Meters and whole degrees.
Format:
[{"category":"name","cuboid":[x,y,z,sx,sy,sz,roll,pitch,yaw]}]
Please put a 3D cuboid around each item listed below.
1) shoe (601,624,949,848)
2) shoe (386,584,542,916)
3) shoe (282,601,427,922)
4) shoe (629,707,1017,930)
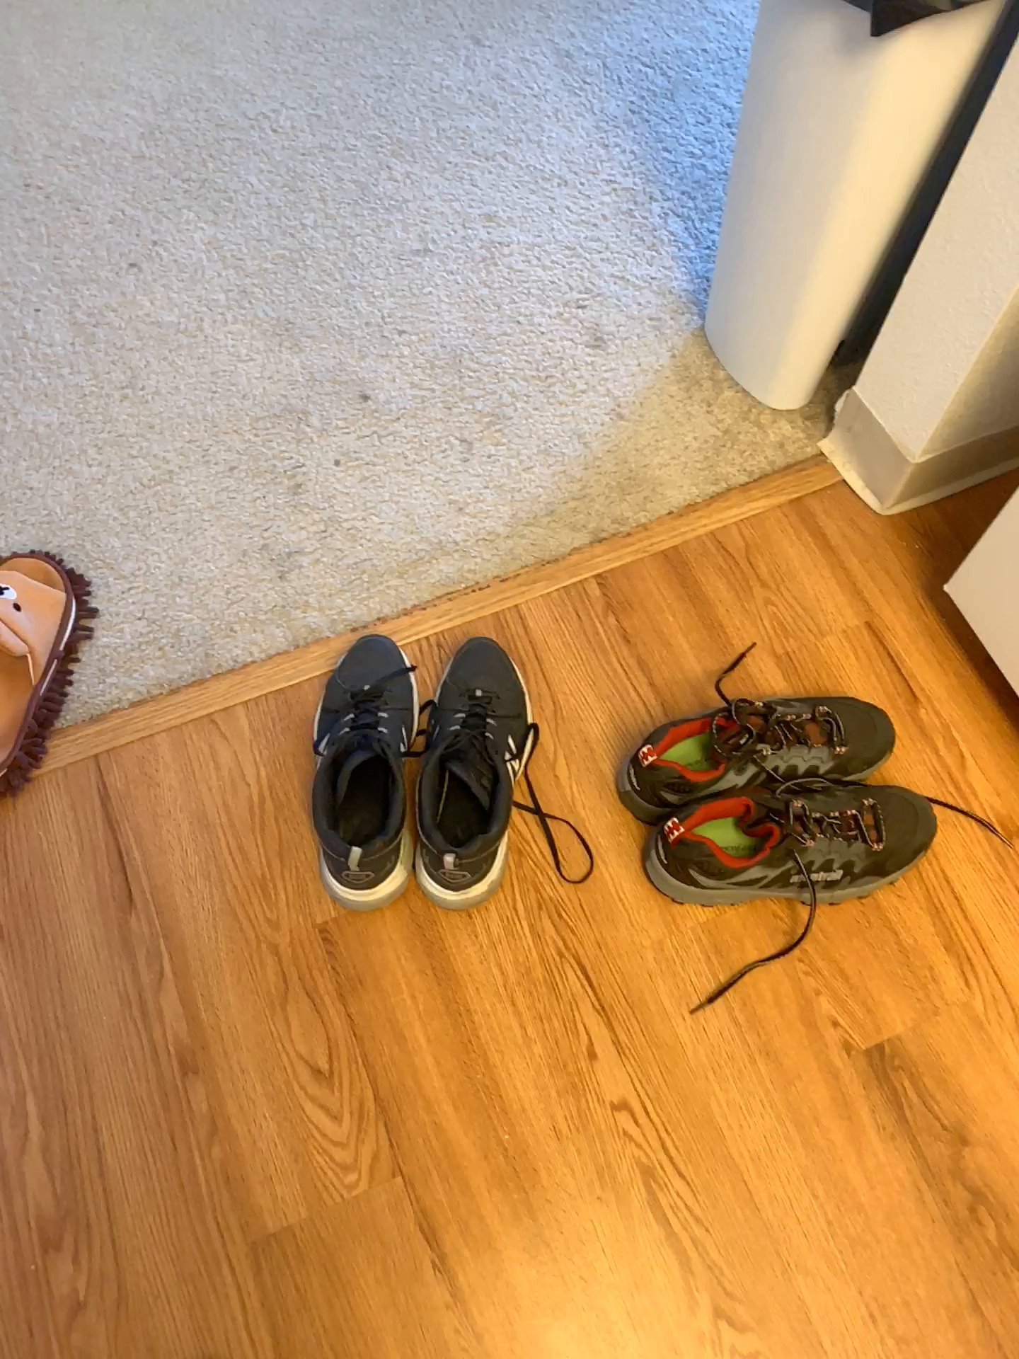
[{"category":"shoe","cuboid":[0.266,0.062,1.096,0.300,0.170,0.120,-12,65,-7]},{"category":"shoe","cuboid":[-0.041,0.071,1.058,0.120,0.130,0.301,5,64,1]},{"category":"shoe","cuboid":[-0.156,0.084,1.094,0.130,0.120,0.311,-2,64,-3]},{"category":"shoe","cuboid":[0.305,0.147,1.073,0.320,0.180,0.140,-6,64,-5]}]
